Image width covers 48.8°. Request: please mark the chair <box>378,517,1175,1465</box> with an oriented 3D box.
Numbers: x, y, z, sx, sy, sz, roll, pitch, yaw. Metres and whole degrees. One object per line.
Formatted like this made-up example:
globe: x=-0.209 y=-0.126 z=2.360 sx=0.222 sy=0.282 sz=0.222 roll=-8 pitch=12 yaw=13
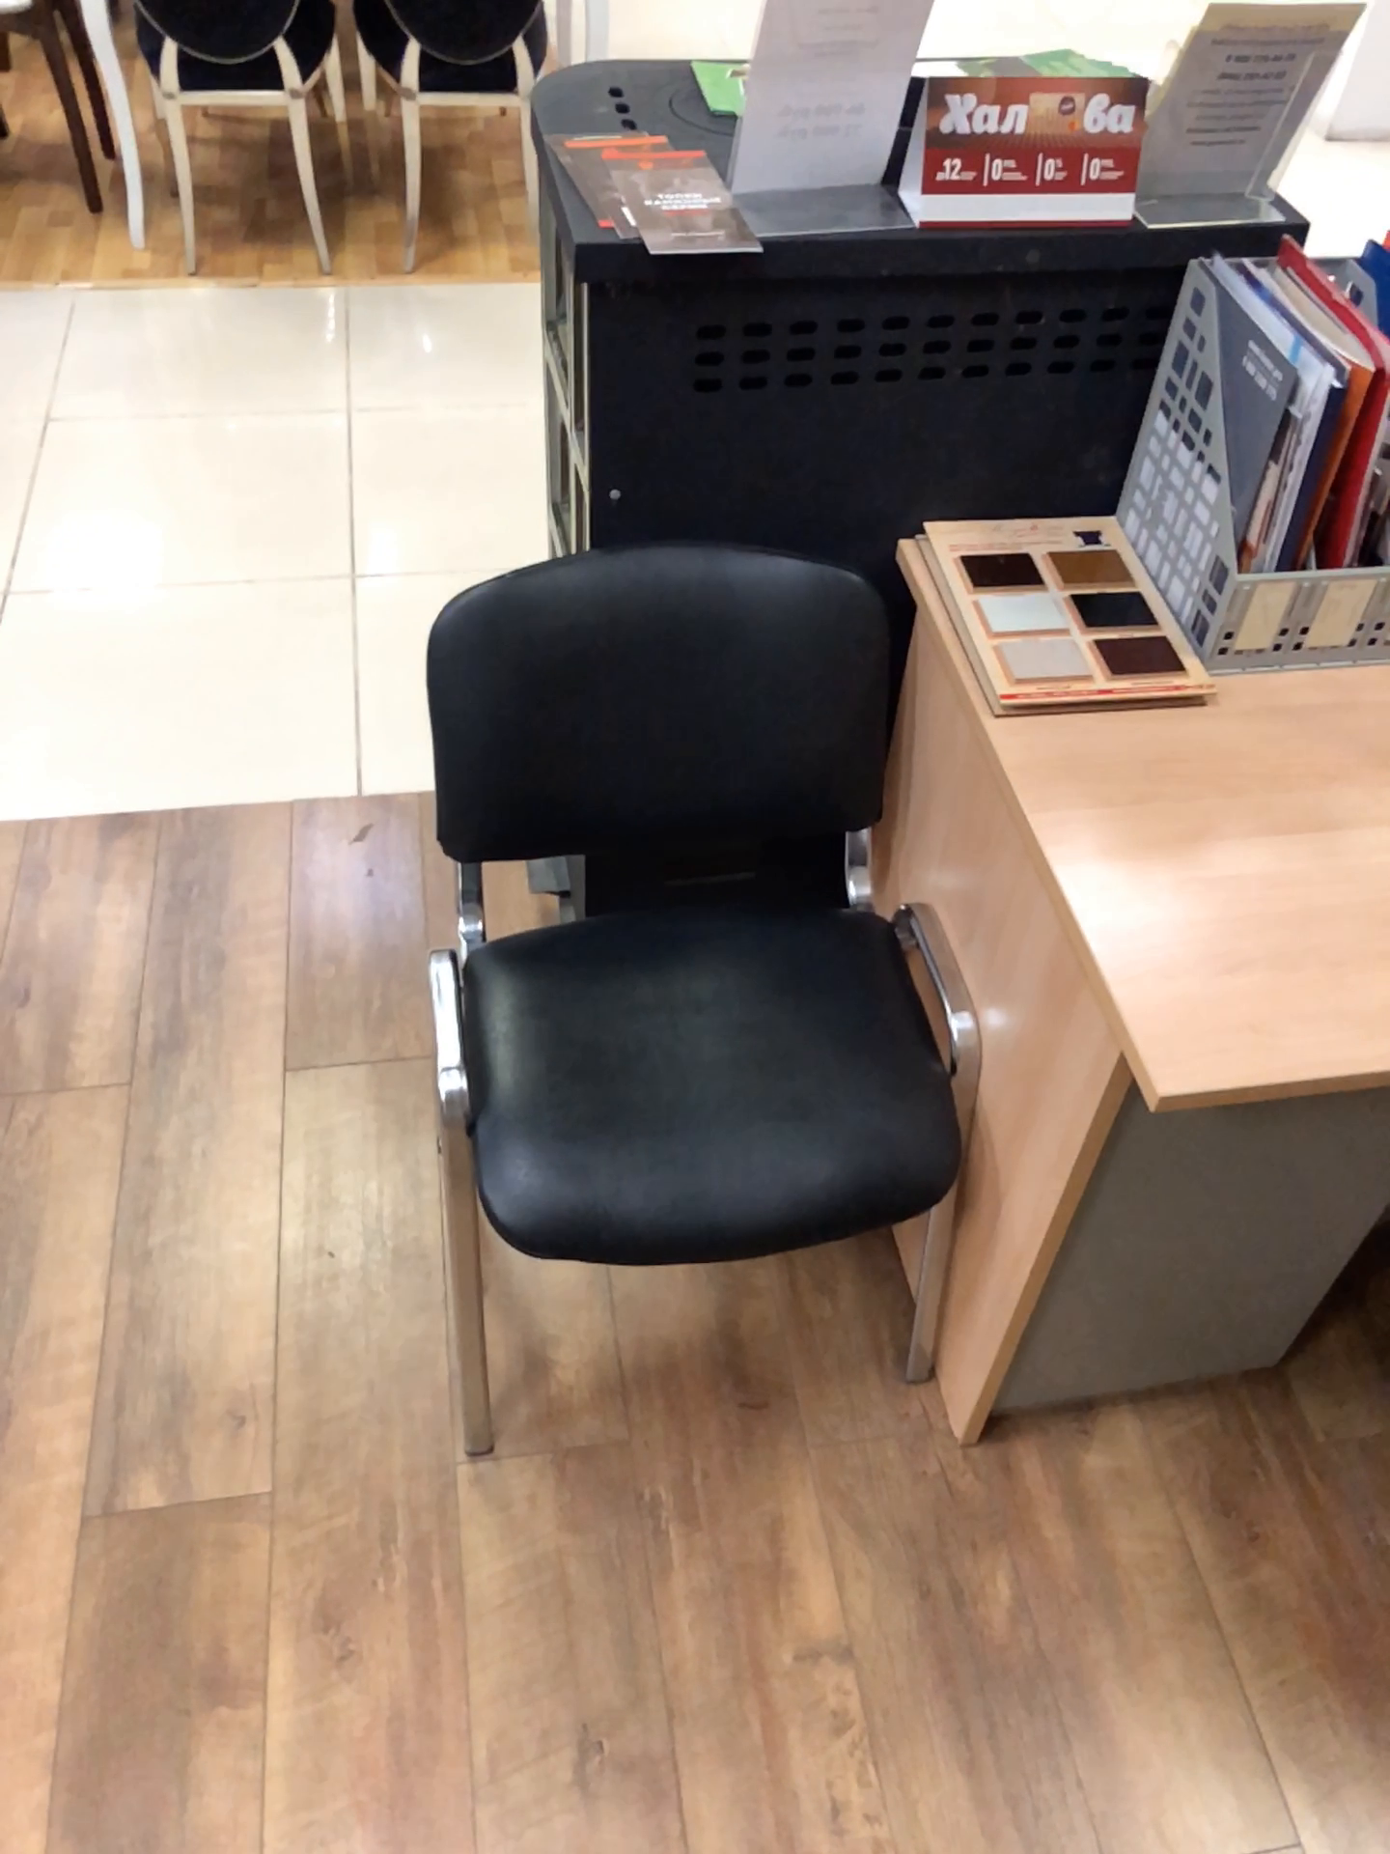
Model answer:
chair: x=0.017 y=0.097 z=1.594 sx=0.580 sy=0.856 sz=0.482 roll=-6 pitch=47 yaw=-9
